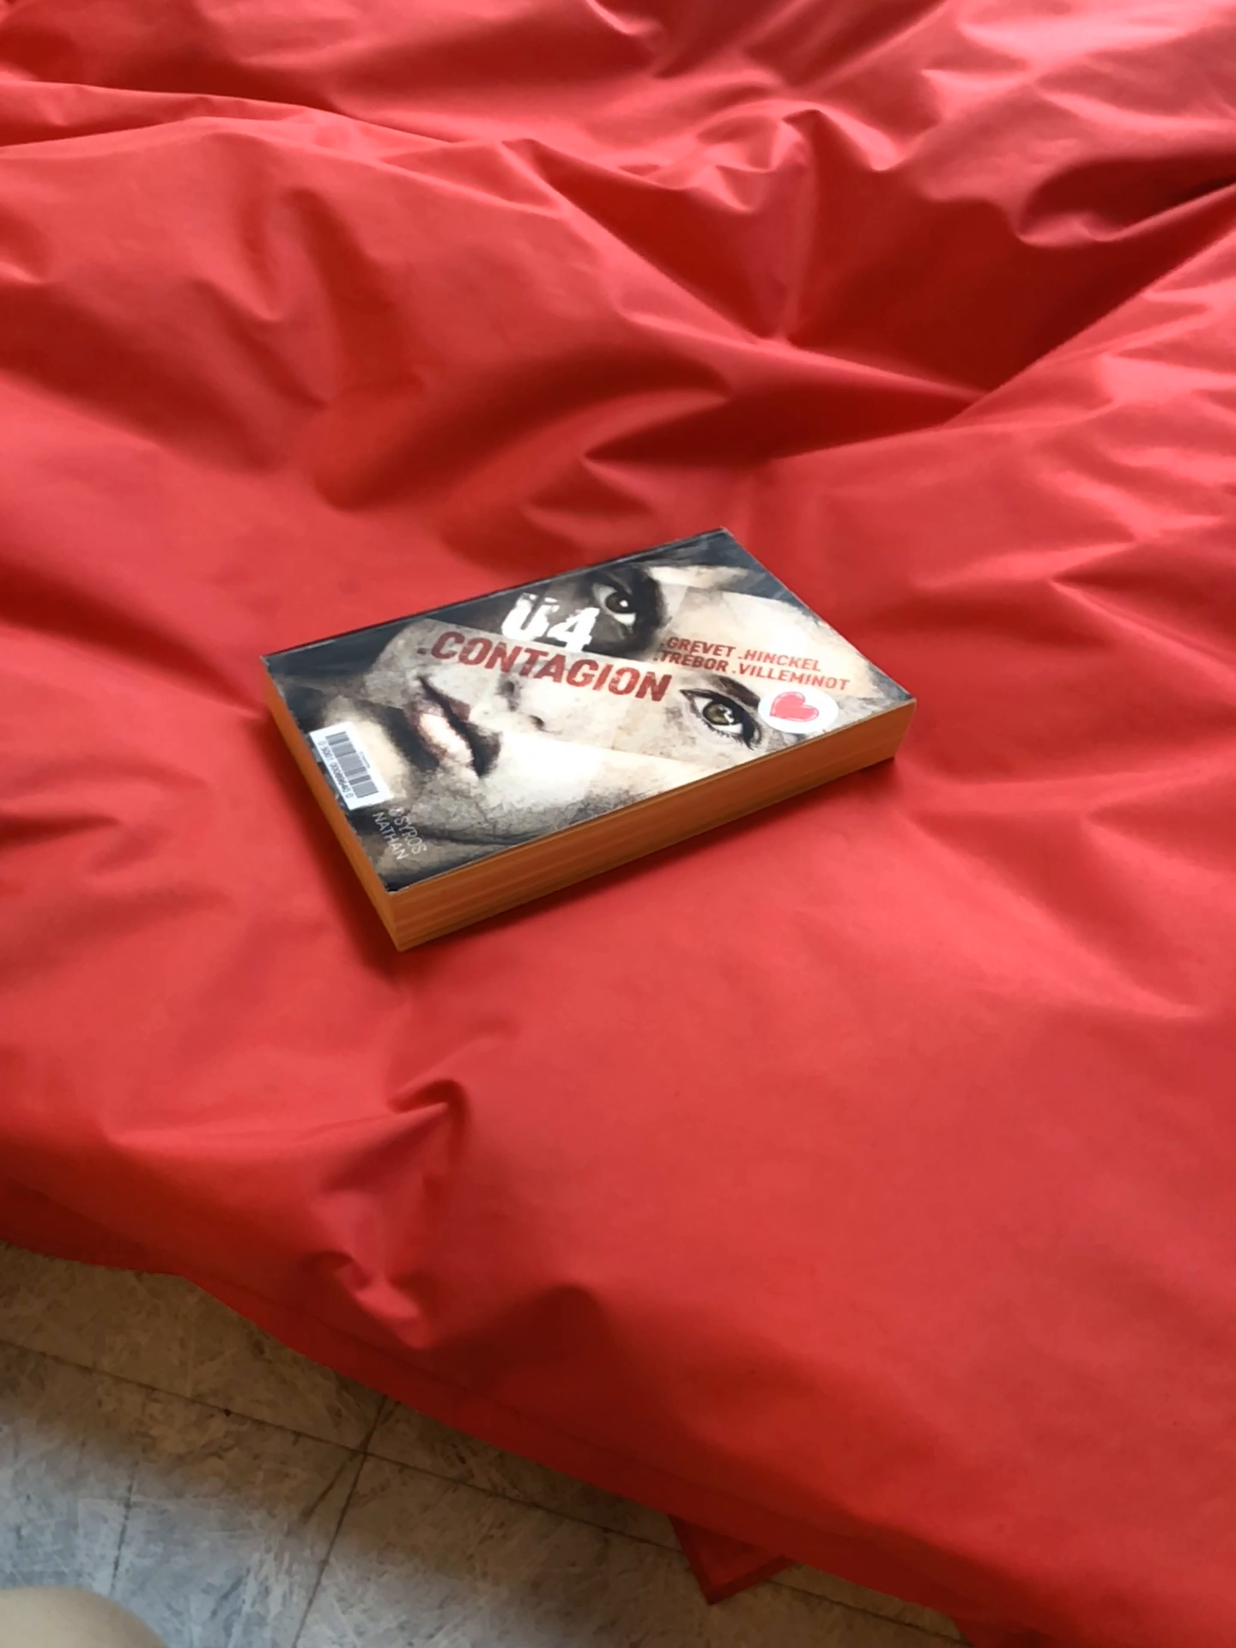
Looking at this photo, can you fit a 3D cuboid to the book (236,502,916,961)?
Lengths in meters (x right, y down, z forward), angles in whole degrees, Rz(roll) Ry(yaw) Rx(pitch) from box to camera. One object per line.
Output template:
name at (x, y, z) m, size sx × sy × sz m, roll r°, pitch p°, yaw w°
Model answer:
book at (-0.021, -0.051, 0.562) m, size 0.225 × 0.038 × 0.166 m, roll -20°, pitch 46°, yaw -19°
